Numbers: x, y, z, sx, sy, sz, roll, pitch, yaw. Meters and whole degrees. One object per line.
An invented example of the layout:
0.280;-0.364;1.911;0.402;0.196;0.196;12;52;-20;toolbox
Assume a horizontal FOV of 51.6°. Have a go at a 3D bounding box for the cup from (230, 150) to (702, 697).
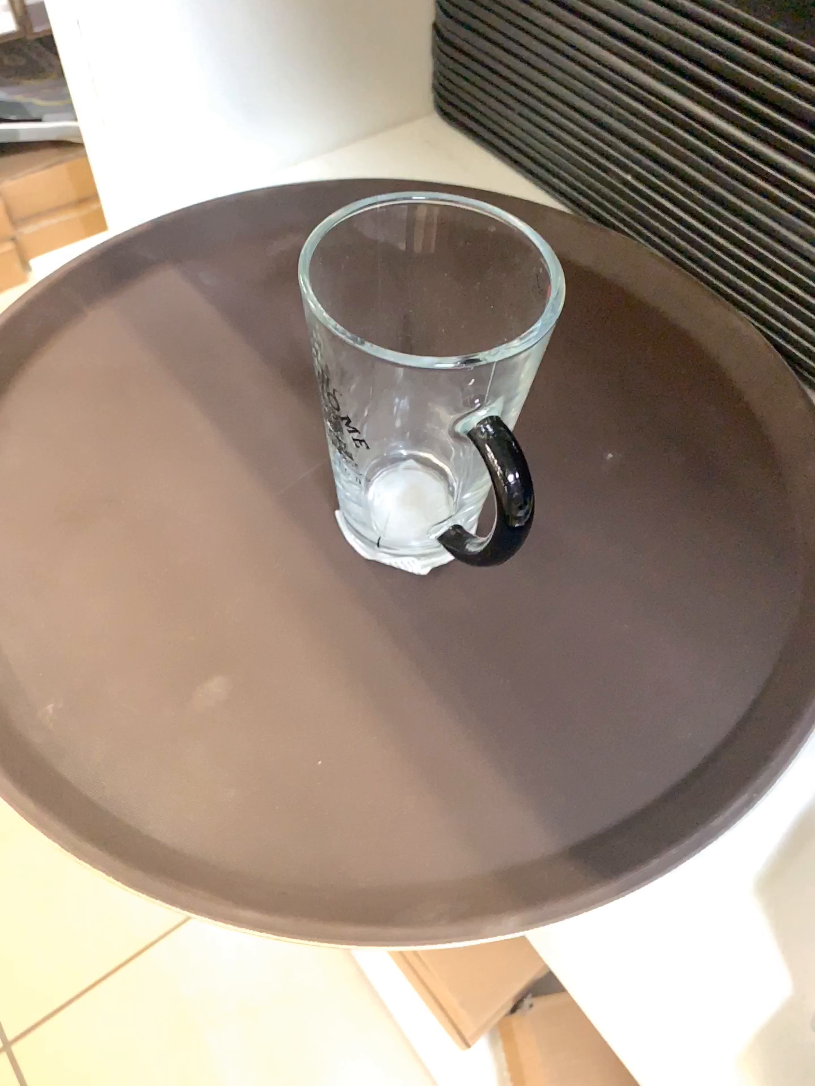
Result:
0.010;-0.040;0.294;0.090;0.120;0.120;-22;58;-18;cup
